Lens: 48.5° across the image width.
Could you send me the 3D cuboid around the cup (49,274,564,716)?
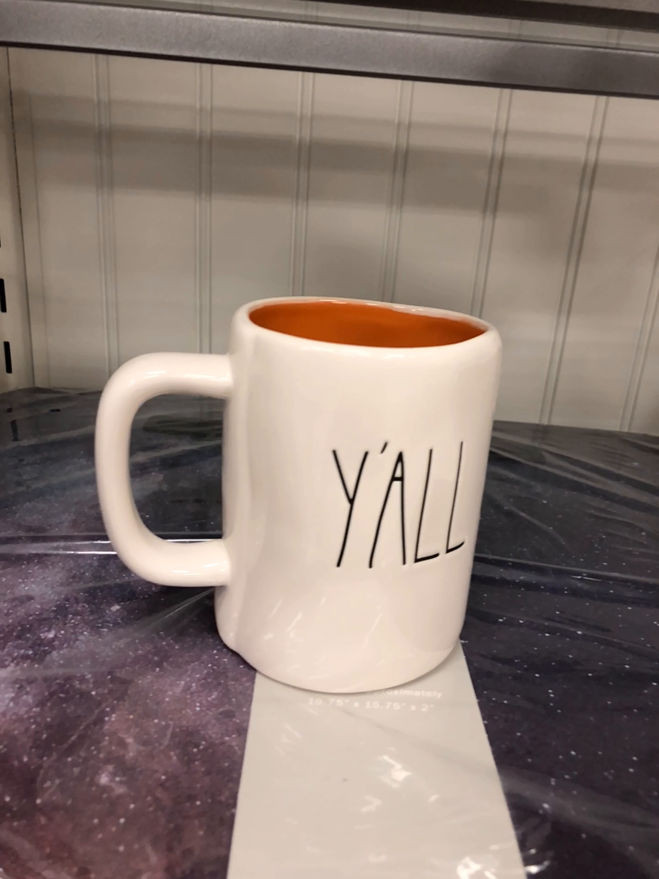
[{"bbox_3d":[-0.014,0.012,0.259,0.140,0.119,0.091,0,21,-11],"label":"cup"}]
